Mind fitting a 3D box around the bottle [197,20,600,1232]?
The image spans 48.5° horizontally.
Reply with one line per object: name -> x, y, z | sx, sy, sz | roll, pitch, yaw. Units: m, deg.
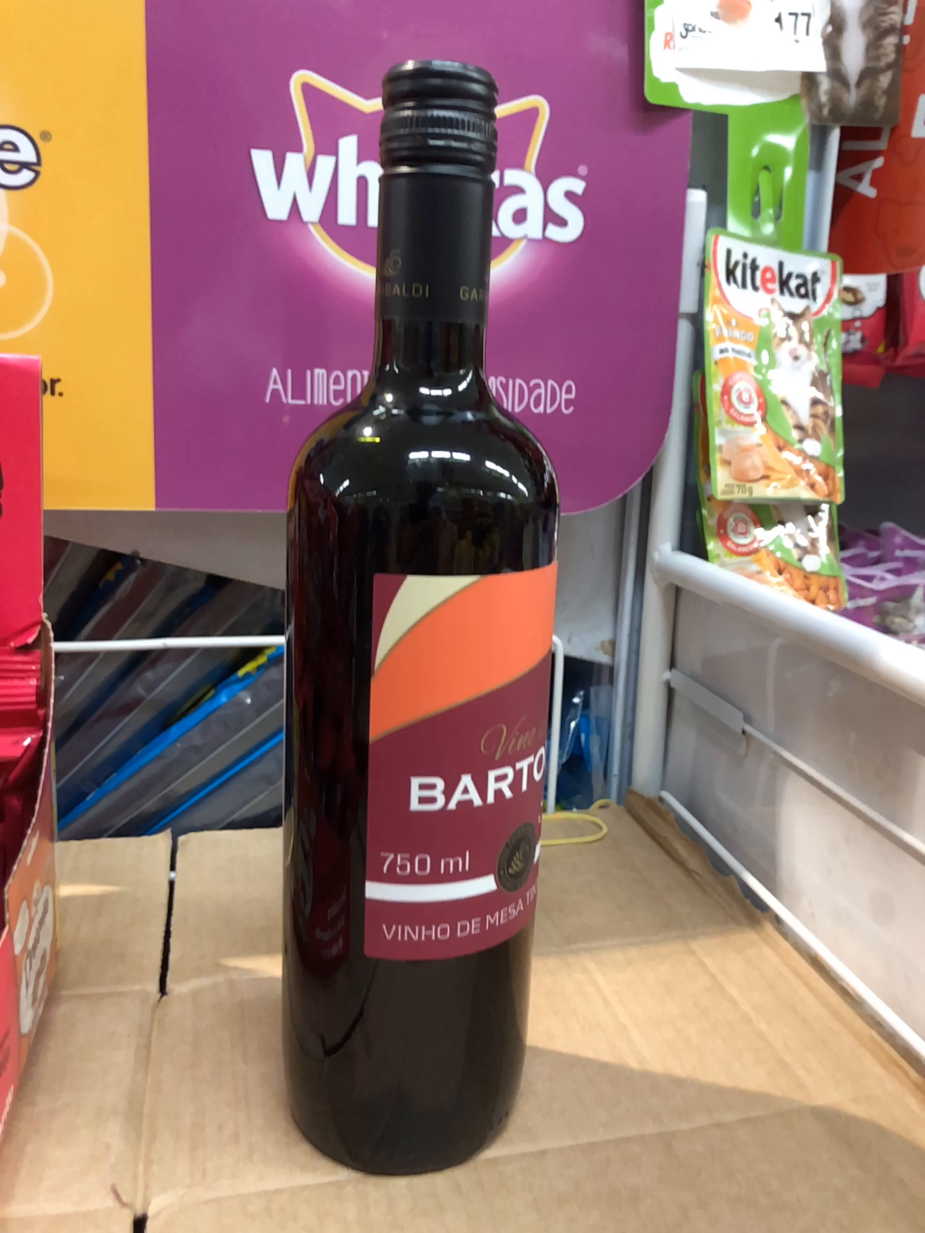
bottle -> -0.019, 0.016, 0.285 | 0.060, 0.299, 0.080 | 12, 16, 38
